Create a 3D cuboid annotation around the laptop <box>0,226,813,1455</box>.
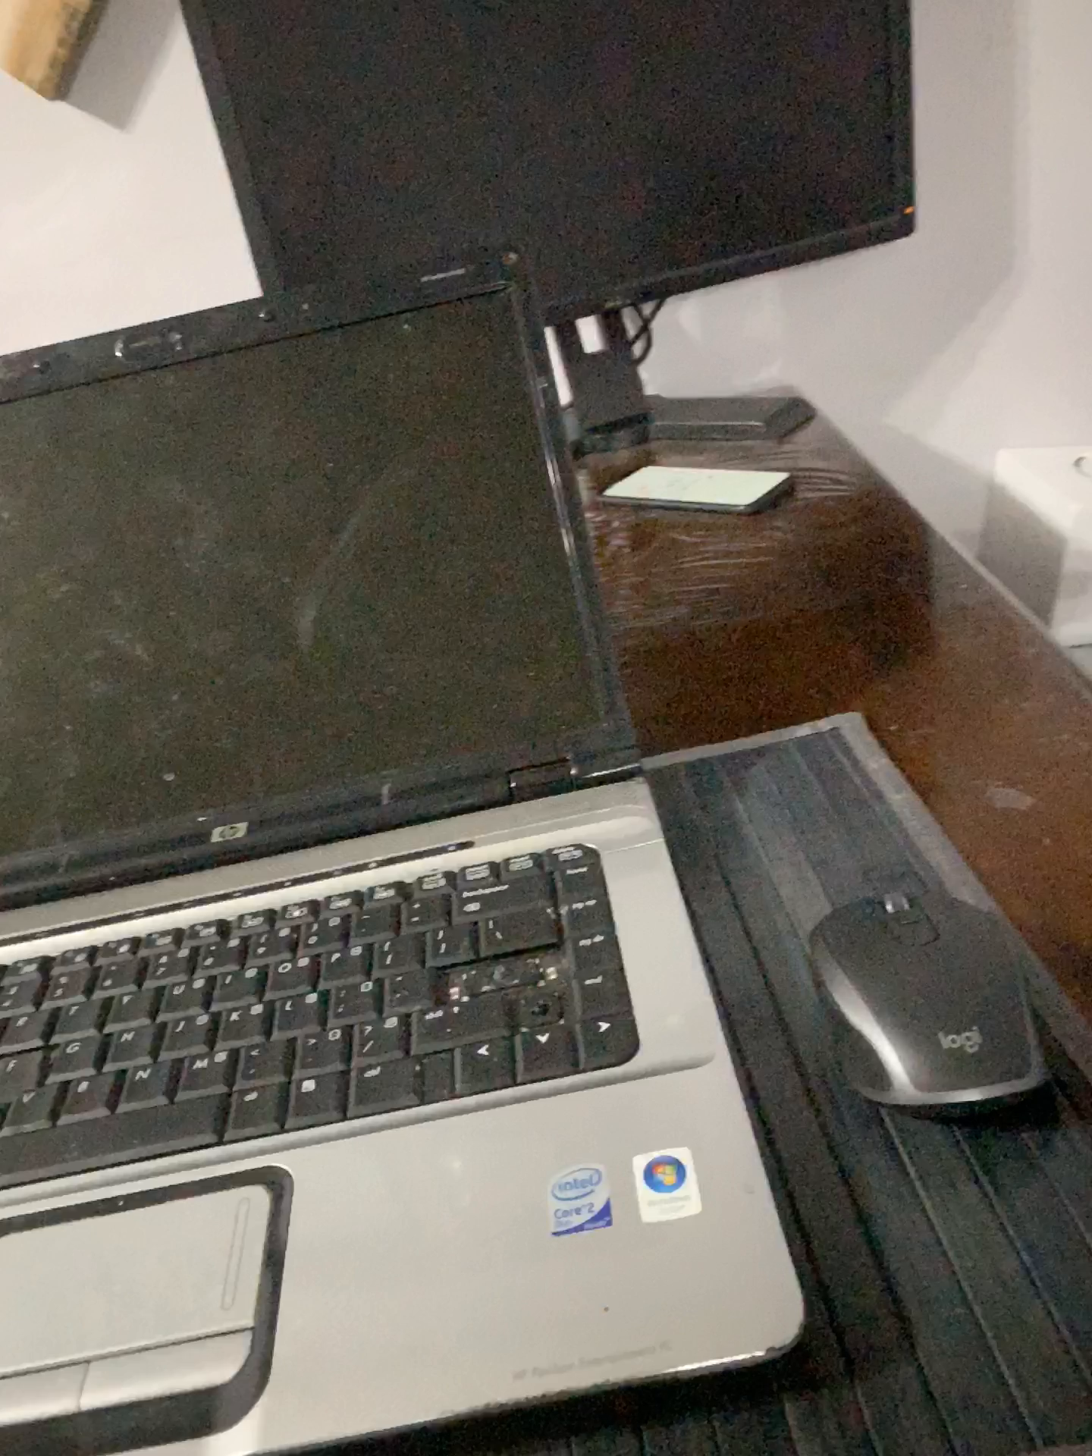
[{"bbox_3d":[-0.145,-0.012,0.385,0.349,0.186,0.404,-12,30,1],"label":"laptop"}]
